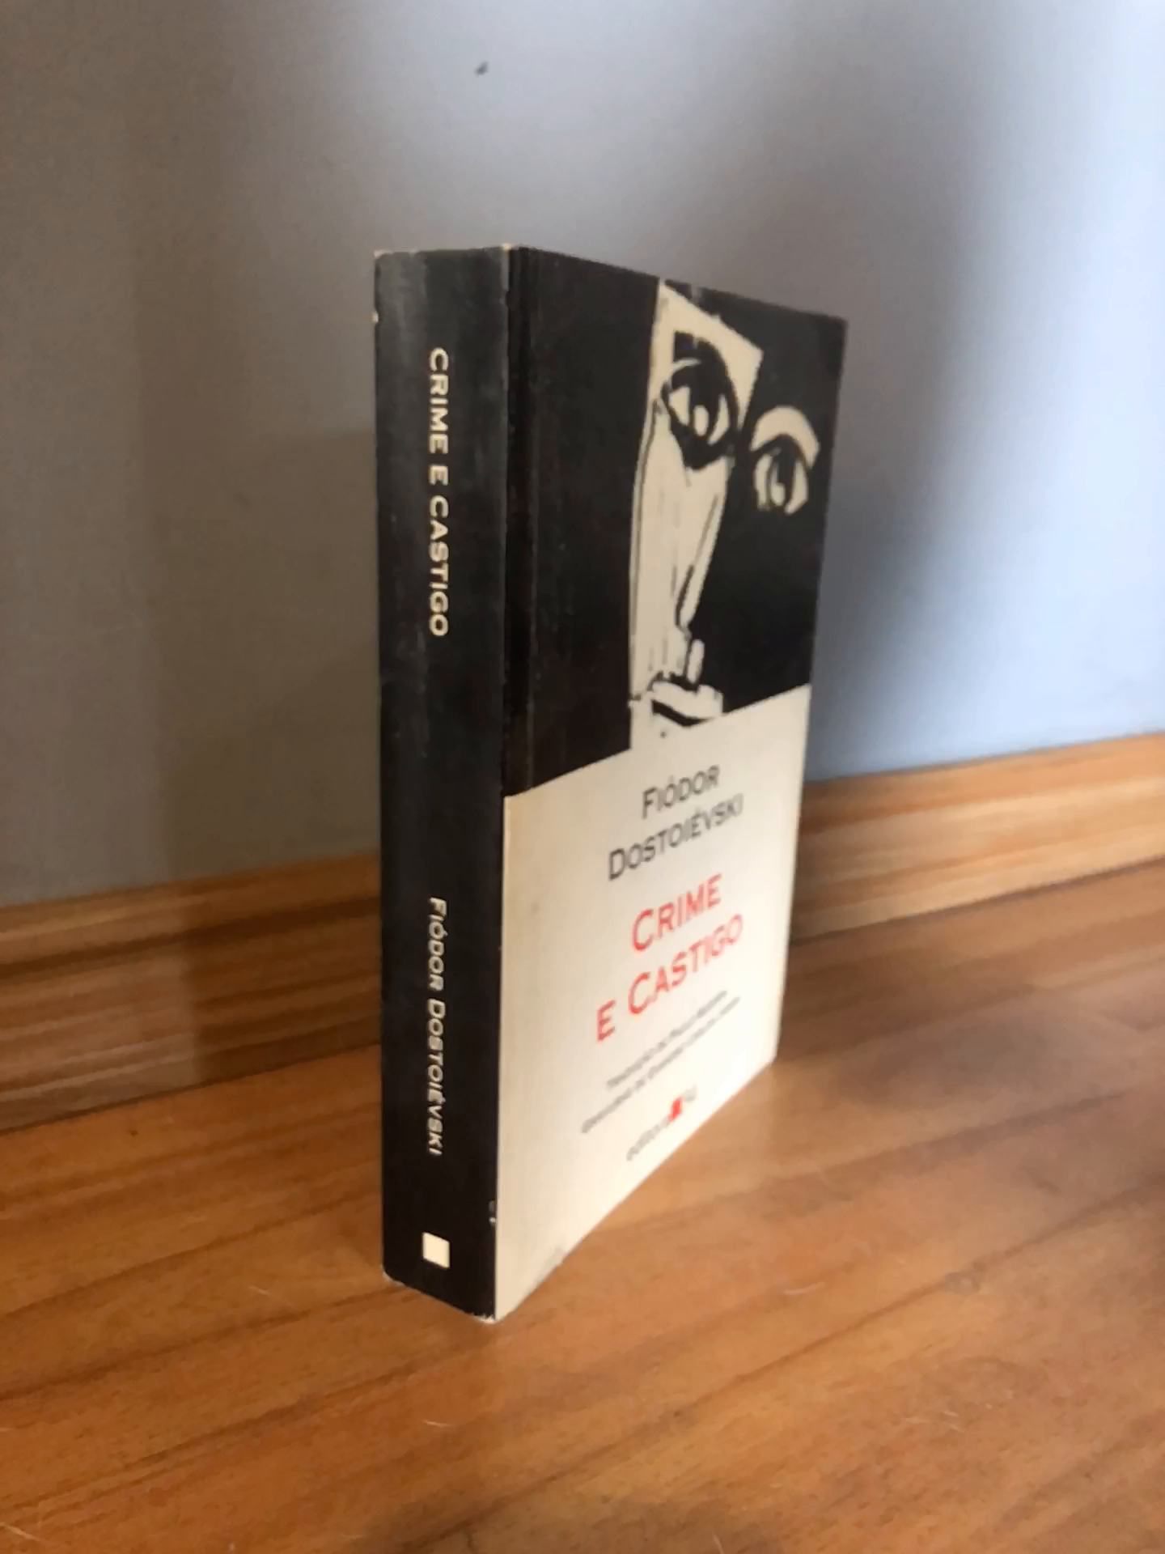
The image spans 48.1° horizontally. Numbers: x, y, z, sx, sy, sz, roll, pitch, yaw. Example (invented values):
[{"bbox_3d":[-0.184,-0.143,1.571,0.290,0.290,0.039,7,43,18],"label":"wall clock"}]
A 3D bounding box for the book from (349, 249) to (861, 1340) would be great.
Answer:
[{"bbox_3d":[0.013,-0.006,0.341,0.045,0.223,0.171,10,16,29],"label":"book"}]
